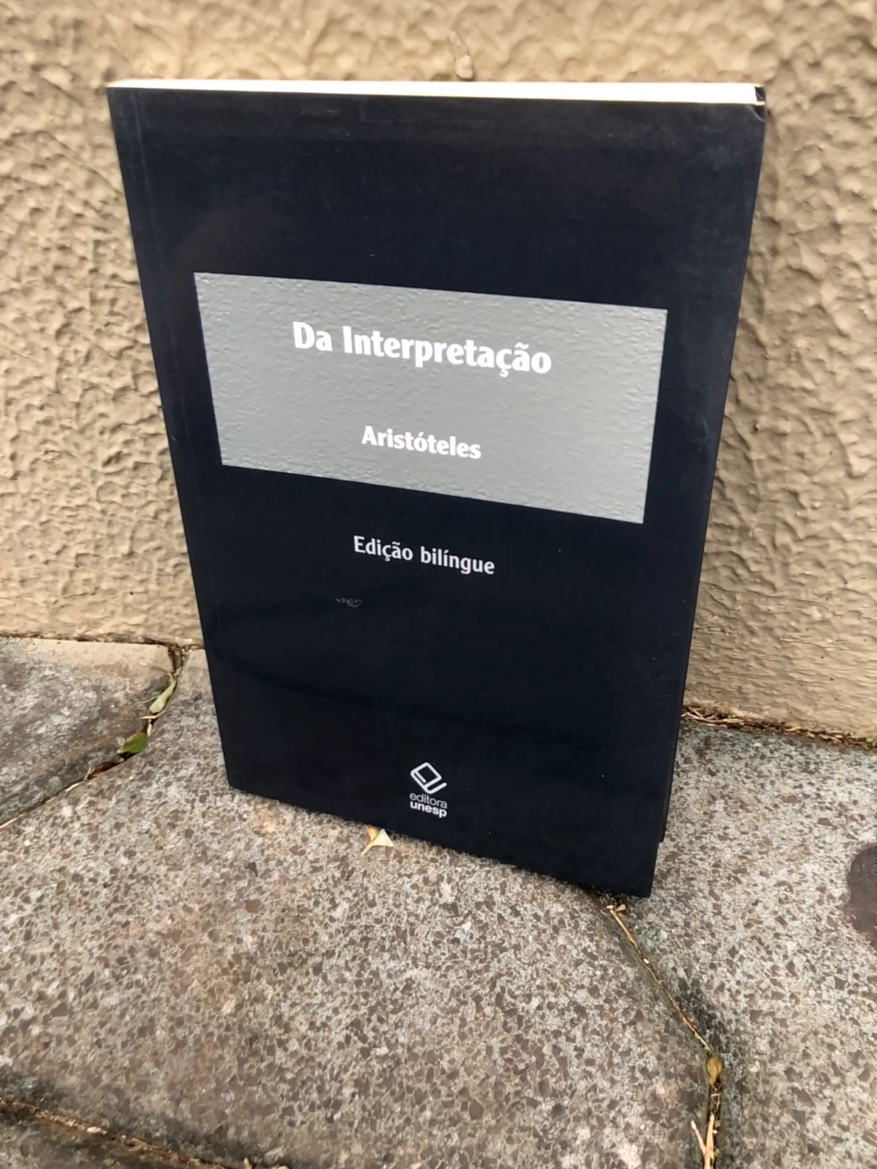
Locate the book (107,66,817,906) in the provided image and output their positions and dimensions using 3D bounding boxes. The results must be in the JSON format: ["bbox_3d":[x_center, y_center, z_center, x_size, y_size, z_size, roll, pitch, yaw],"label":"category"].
[{"bbox_3d":[0.003,-0.016,0.233,0.132,0.187,0.030,11,33,18],"label":"book"}]
